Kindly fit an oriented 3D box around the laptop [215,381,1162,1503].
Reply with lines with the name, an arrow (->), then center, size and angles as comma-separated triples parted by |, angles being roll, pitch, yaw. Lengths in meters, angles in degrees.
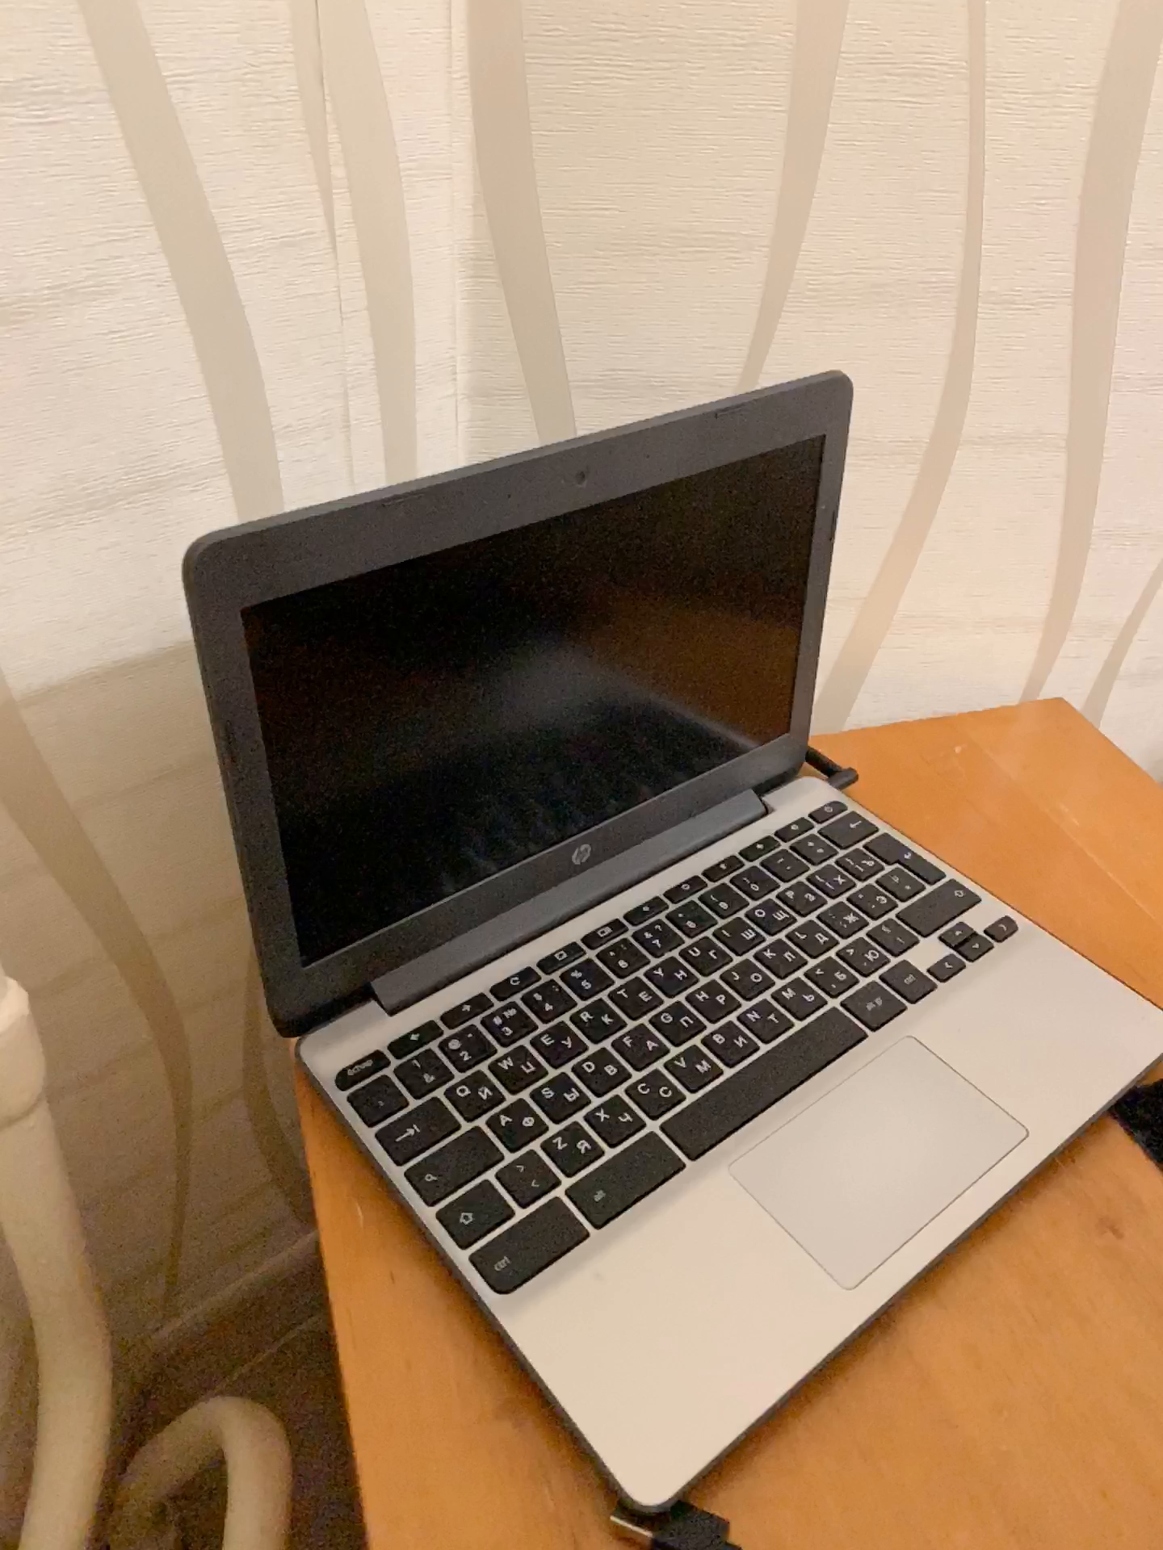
laptop -> 0.063, 0.015, 0.392 | 0.272, 0.187, 0.207 | -24, 44, -32
